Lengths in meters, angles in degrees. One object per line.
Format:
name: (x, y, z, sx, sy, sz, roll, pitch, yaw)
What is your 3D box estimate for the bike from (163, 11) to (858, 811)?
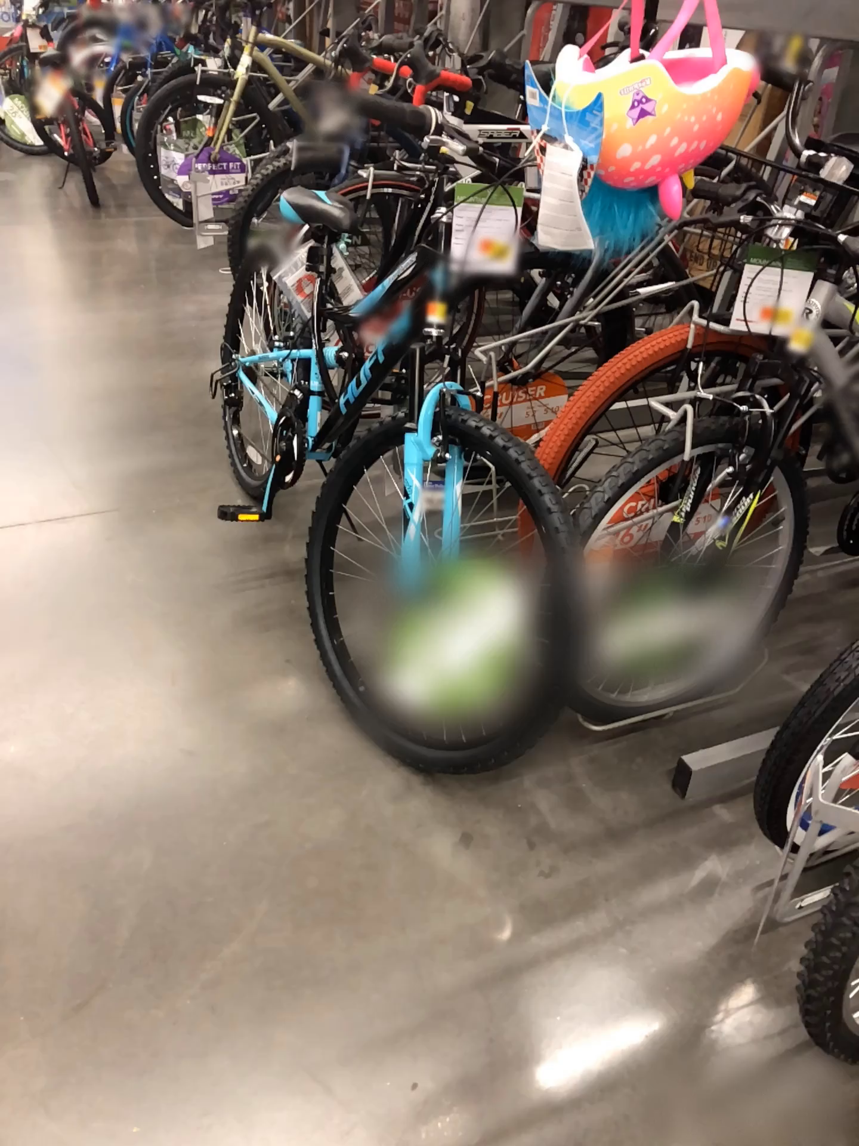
bike: (0.009, -0.508, 2.021, 0.544, 1.120, 1.713, -15, 37, -25)
